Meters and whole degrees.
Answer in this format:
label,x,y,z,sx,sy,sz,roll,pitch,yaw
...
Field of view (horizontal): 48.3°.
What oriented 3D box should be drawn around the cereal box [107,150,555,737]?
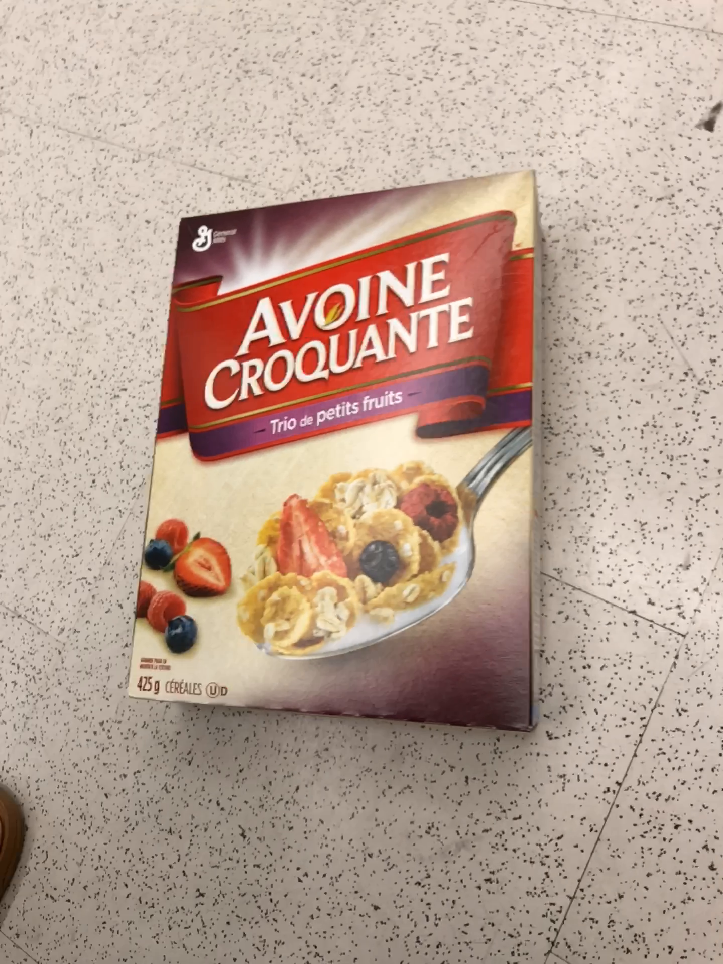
label,x,y,z,sx,sy,sz,roll,pitch,yaw
cereal box,-0.010,-0.019,0.419,0.210,0.060,0.270,-1,77,19
